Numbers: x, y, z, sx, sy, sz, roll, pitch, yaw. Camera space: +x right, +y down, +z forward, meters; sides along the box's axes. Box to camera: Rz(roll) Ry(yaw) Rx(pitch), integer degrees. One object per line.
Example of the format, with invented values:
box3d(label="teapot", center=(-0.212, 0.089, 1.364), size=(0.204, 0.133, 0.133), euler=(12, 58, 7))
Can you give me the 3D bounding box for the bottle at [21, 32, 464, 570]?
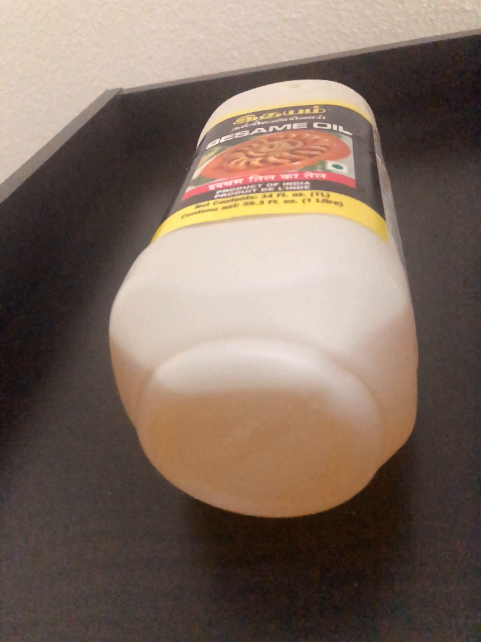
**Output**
box3d(label="bottle", center=(0.022, -0.041, 0.230), size=(0.090, 0.090, 0.251), euler=(-4, 37, 13))
